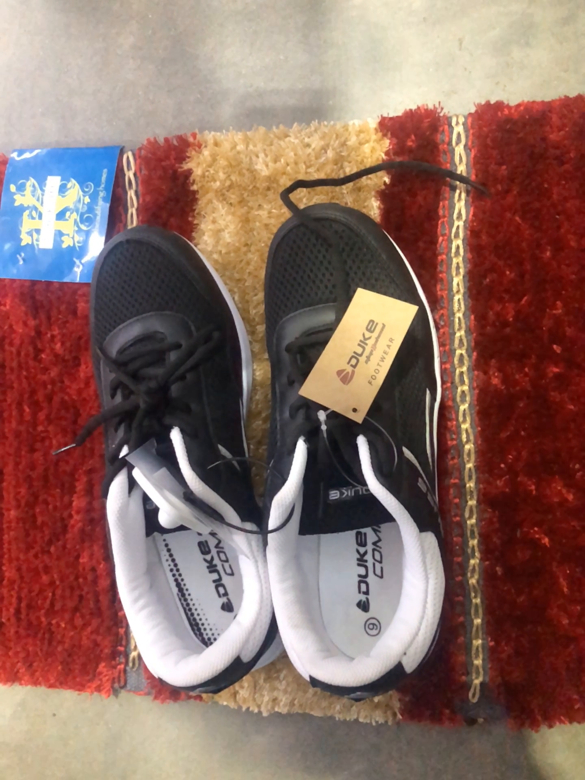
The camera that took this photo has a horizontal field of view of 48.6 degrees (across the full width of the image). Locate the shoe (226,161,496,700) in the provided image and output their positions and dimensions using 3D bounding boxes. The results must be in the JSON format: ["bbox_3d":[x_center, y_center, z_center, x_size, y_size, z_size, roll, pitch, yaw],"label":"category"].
[{"bbox_3d":[0.035,0.021,0.345,0.110,0.070,0.250,-5,85,11],"label":"shoe"}]

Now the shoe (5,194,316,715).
[{"bbox_3d":[-0.070,0.032,0.354,0.100,0.070,0.240,-15,83,10],"label":"shoe"}]
